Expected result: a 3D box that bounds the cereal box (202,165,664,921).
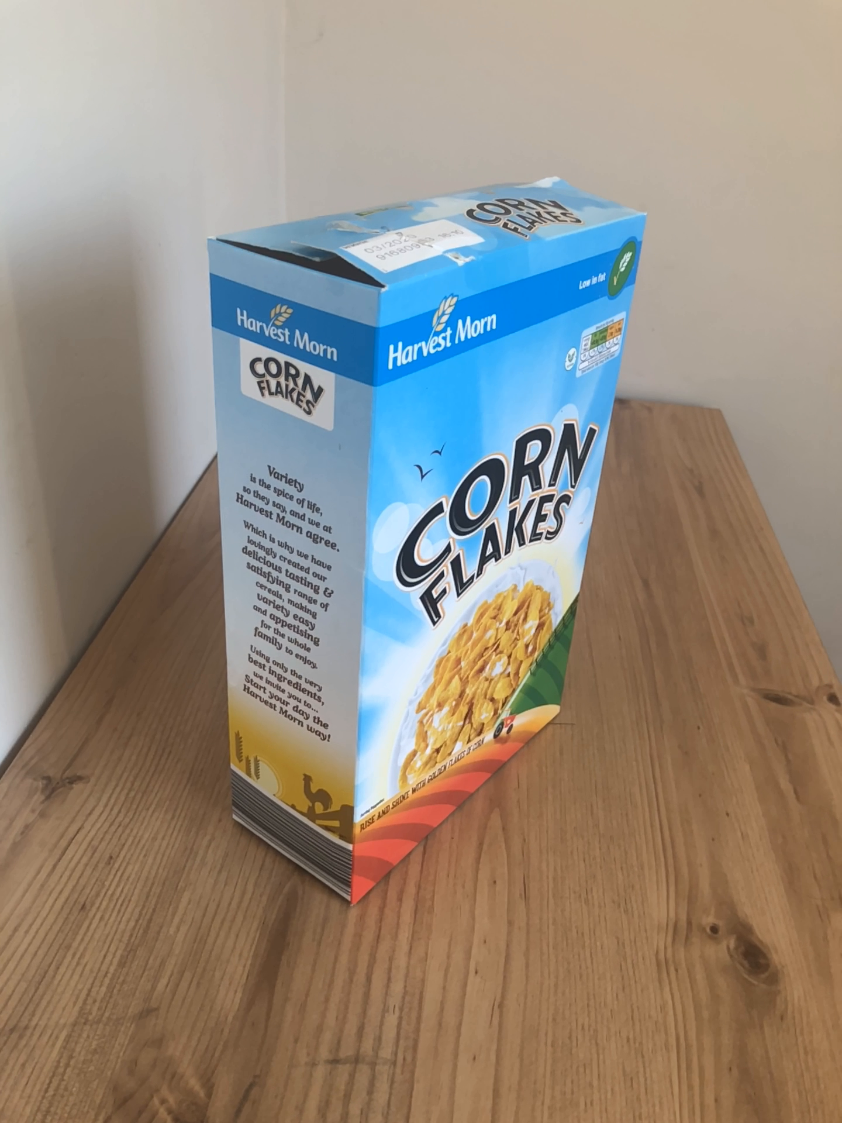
[{"bbox_3d":[0.006,-0.013,0.454,0.080,0.308,0.201,25,37,30],"label":"cereal box"}]
